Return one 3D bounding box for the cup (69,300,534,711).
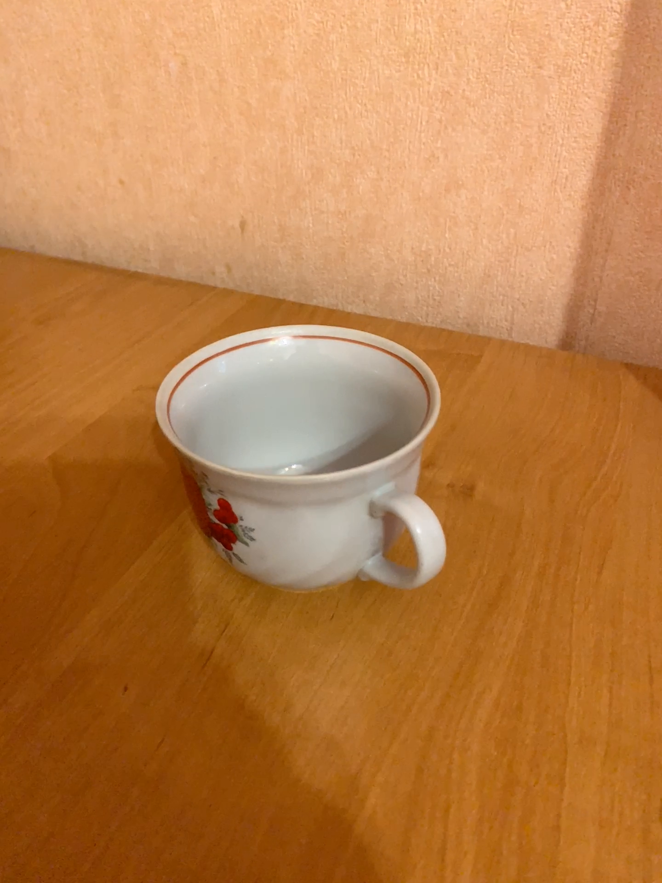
[{"bbox_3d":[-0.009,0.009,0.217,0.109,0.056,0.083,25,43,31],"label":"cup"}]
